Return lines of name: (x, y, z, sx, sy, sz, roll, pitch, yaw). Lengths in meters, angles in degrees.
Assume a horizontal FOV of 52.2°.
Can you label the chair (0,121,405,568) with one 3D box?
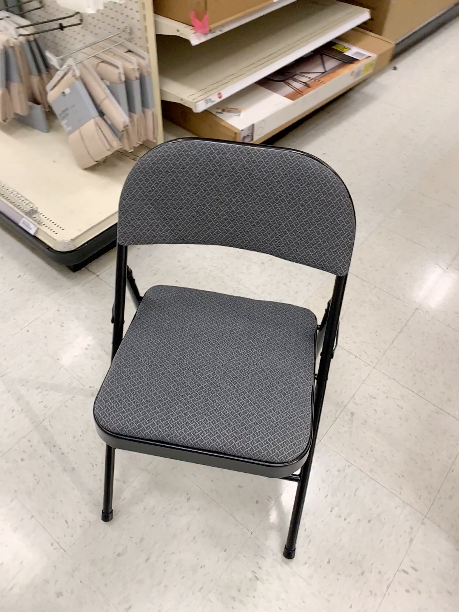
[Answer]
chair: (-0.023, 0.109, 0.956, 0.500, 0.677, 0.552, 9, 50, 5)
